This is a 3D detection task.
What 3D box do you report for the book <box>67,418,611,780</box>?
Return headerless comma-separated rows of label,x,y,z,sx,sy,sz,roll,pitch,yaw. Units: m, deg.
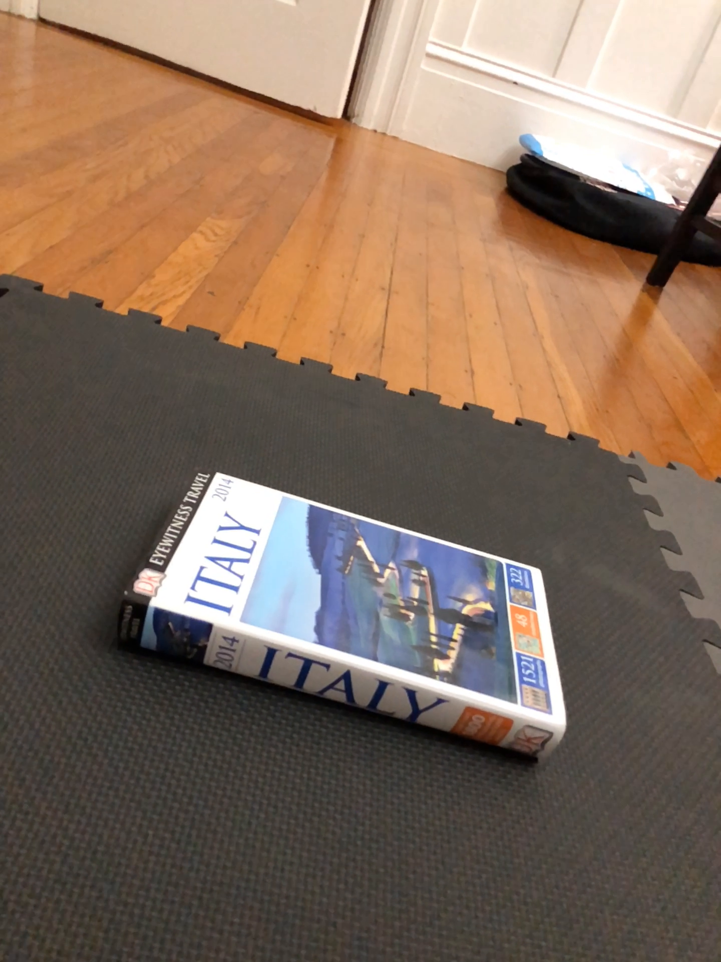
book,-0.004,0.054,0.433,0.250,0.040,0.161,16,31,-5
